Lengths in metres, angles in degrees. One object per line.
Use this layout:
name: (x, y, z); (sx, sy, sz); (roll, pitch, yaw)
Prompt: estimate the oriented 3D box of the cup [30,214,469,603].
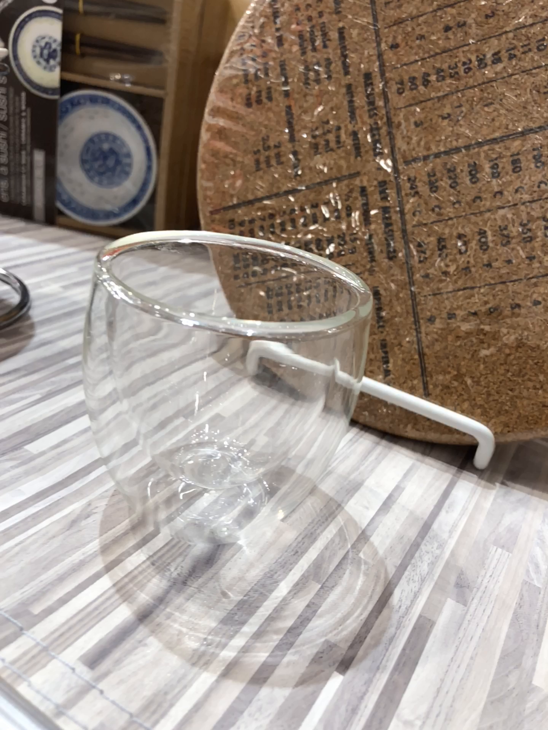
cup: (-0.012, 0.001, 0.142); (0.070, 0.050, 0.070); (8, 26, -4)
